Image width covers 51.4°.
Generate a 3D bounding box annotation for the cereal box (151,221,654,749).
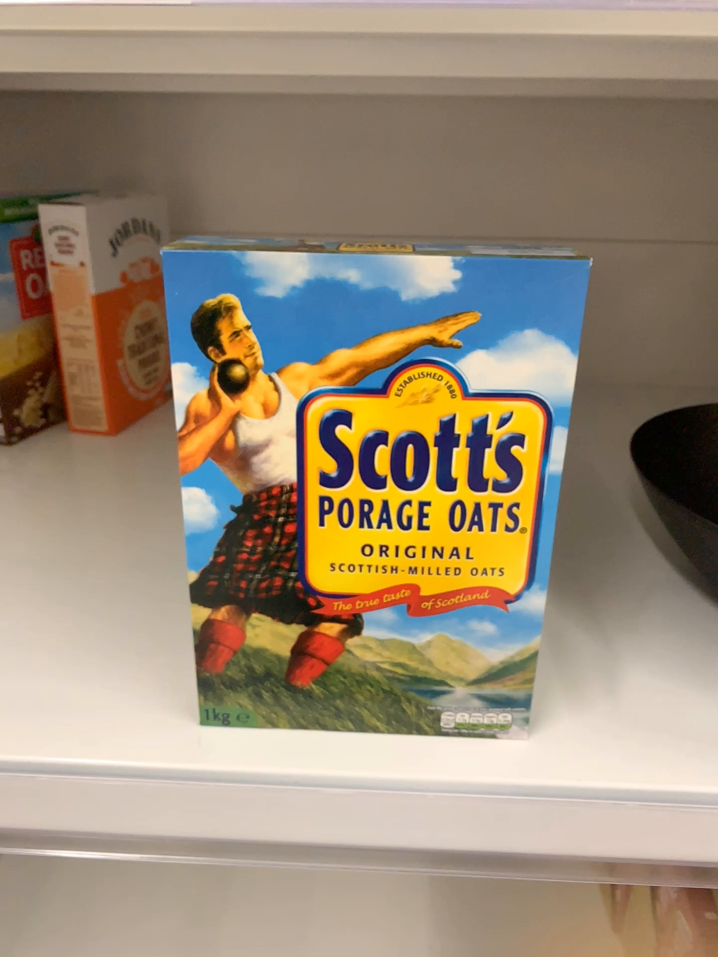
[{"bbox_3d":[0.017,0.009,0.397,0.210,0.268,0.071,2,24,2],"label":"cereal box"}]
